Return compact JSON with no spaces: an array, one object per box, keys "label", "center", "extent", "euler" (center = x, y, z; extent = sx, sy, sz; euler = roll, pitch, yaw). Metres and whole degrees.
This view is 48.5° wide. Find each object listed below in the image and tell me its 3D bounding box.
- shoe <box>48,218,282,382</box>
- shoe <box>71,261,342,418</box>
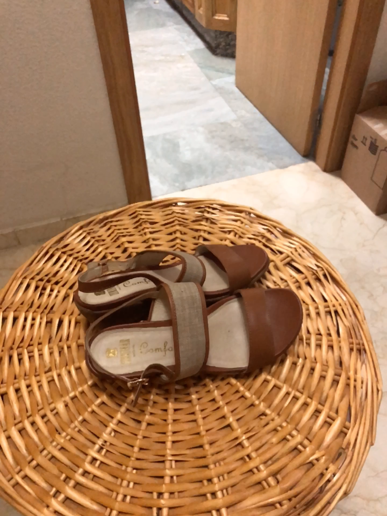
[{"label":"shoe","center":[-0.031,0.049,0.554],"extent":[0.270,0.090,0.090],"euler":[-19,49,-14]},{"label":"shoe","center":[0.011,0.090,0.484],"extent":[0.270,0.070,0.100],"euler":[-11,62,-7]}]
